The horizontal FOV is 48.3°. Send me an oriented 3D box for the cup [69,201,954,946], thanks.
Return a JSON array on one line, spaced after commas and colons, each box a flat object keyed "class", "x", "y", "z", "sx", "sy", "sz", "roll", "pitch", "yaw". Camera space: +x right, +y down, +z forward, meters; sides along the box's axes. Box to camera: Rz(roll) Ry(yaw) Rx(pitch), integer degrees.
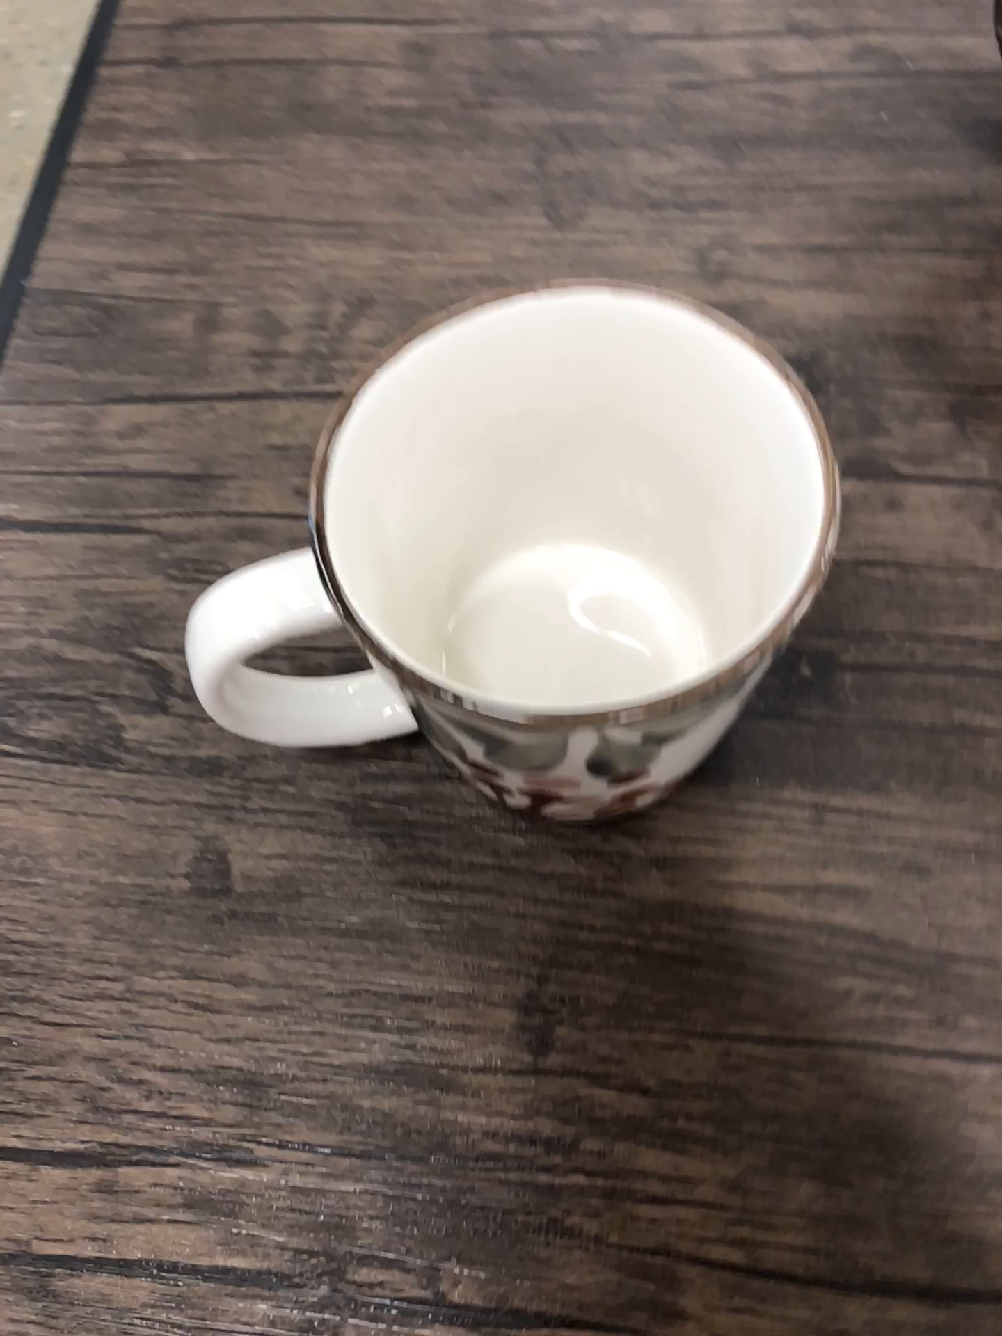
[{"class": "cup", "x": -0.001, "y": -0.014, "z": 0.268, "sx": 0.150, "sy": 0.110, "sz": 0.100, "roll": -17, "pitch": 66, "yaw": -3}]
